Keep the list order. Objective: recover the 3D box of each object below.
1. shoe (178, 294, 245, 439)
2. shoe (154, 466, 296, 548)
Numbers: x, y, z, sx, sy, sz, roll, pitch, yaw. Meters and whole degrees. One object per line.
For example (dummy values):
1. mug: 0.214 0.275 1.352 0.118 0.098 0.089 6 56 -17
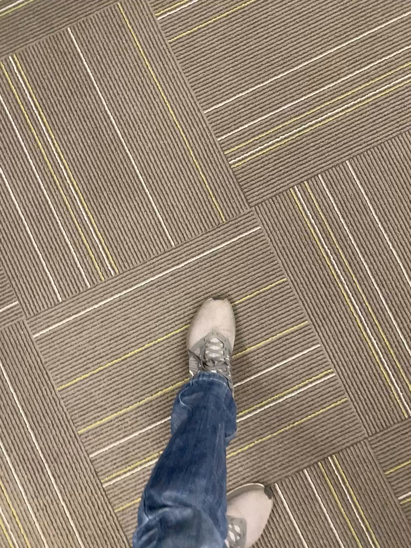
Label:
1. shoe: 0.015 0.208 0.983 0.131 0.093 0.313 4 87 2
2. shoe: 0.044 0.611 0.974 0.299 0.093 0.128 -39 87 -1
